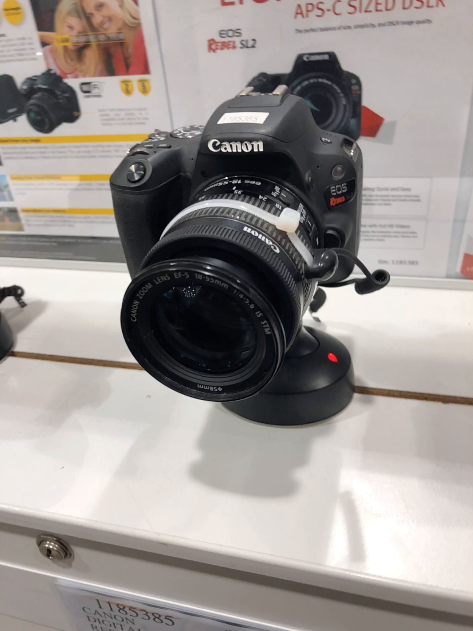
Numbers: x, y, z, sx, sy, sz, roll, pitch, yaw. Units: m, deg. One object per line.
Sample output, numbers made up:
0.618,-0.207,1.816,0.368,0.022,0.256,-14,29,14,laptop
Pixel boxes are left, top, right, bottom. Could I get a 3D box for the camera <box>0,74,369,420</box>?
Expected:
-0.012,-0.042,0.236,0.130,0.090,0.141,3,34,14,camera
